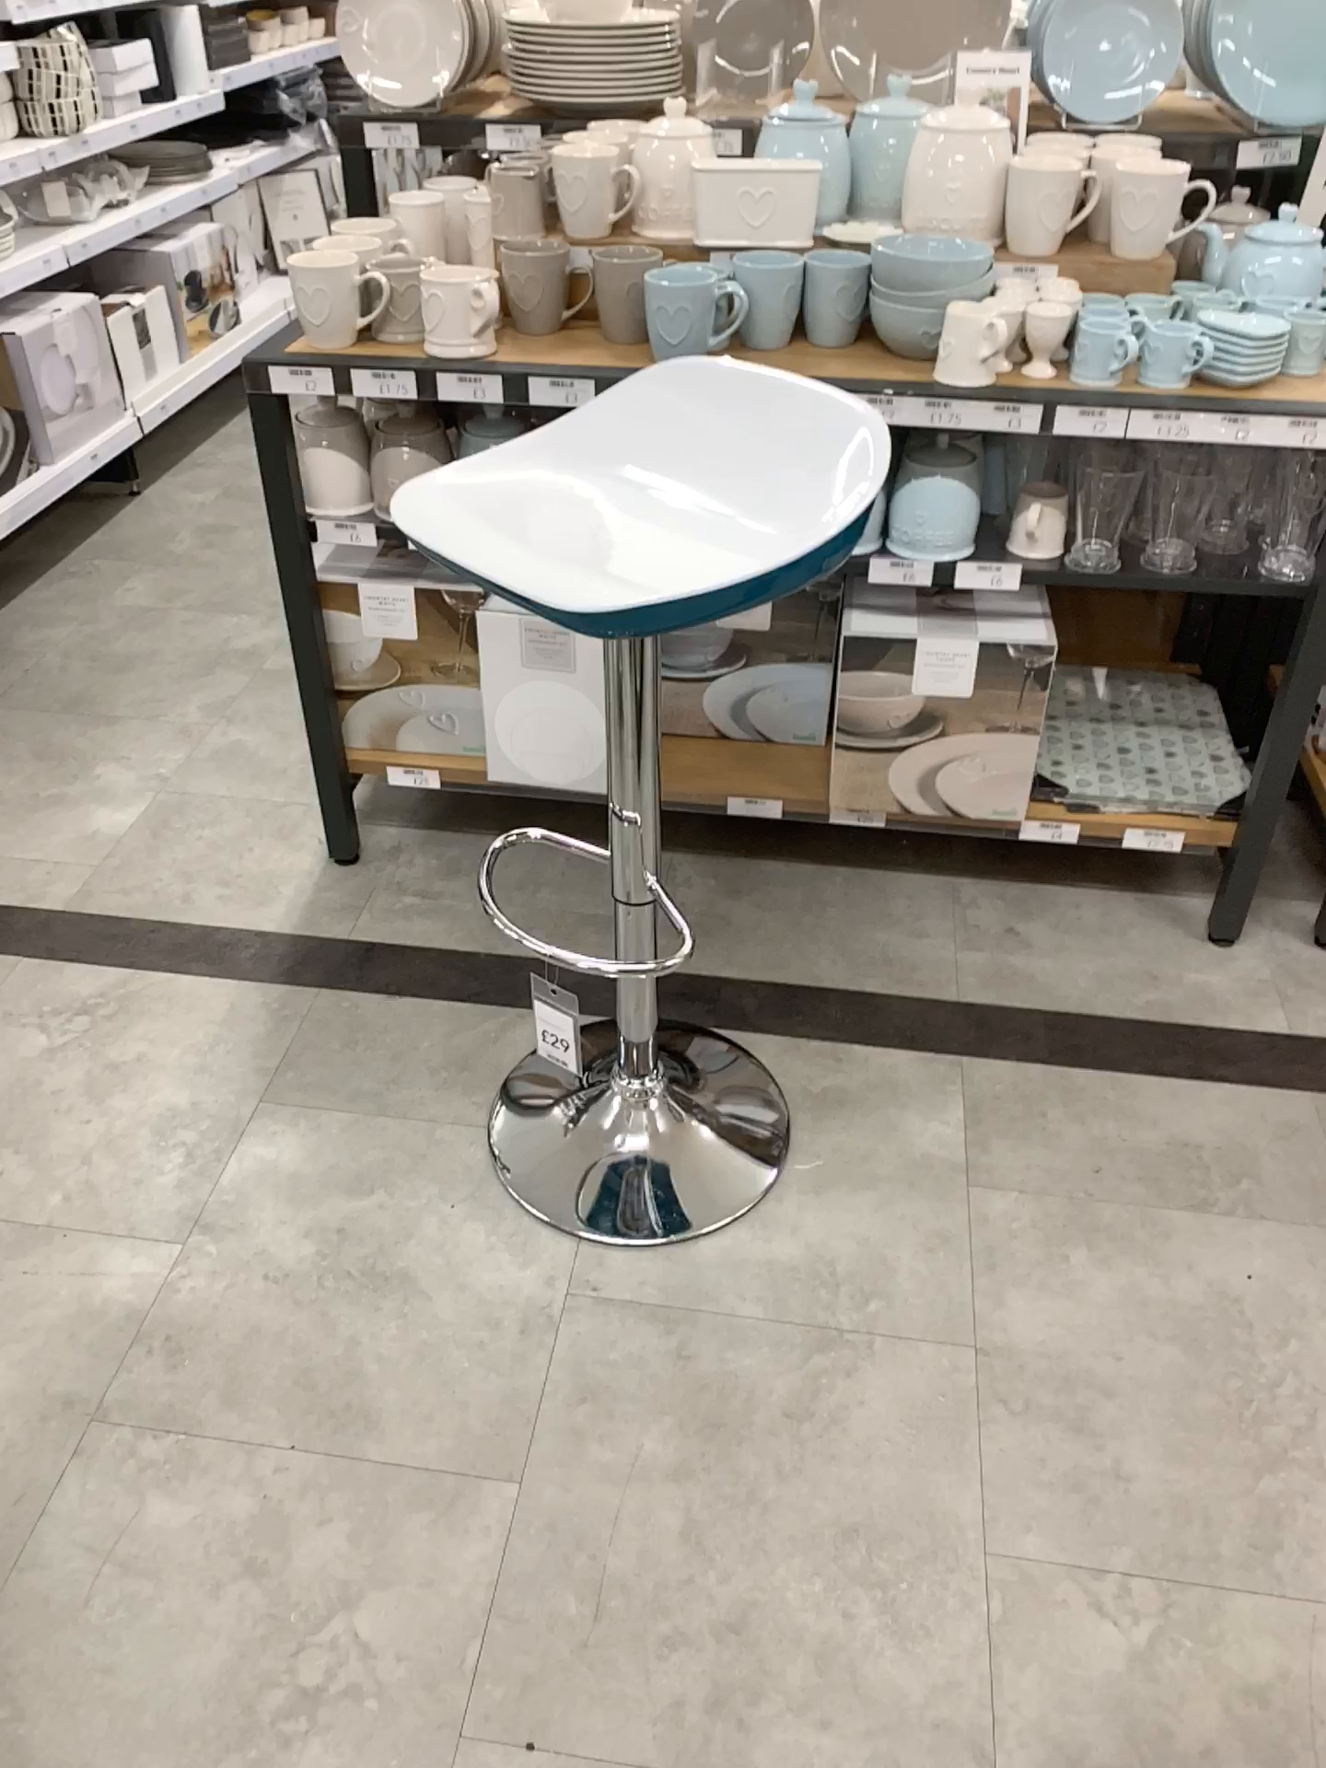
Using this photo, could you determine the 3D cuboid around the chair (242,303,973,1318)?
[{"bbox_3d":[-0.049,-0.077,1.384,0.422,0.825,0.457,-29,45,-32],"label":"chair"}]
